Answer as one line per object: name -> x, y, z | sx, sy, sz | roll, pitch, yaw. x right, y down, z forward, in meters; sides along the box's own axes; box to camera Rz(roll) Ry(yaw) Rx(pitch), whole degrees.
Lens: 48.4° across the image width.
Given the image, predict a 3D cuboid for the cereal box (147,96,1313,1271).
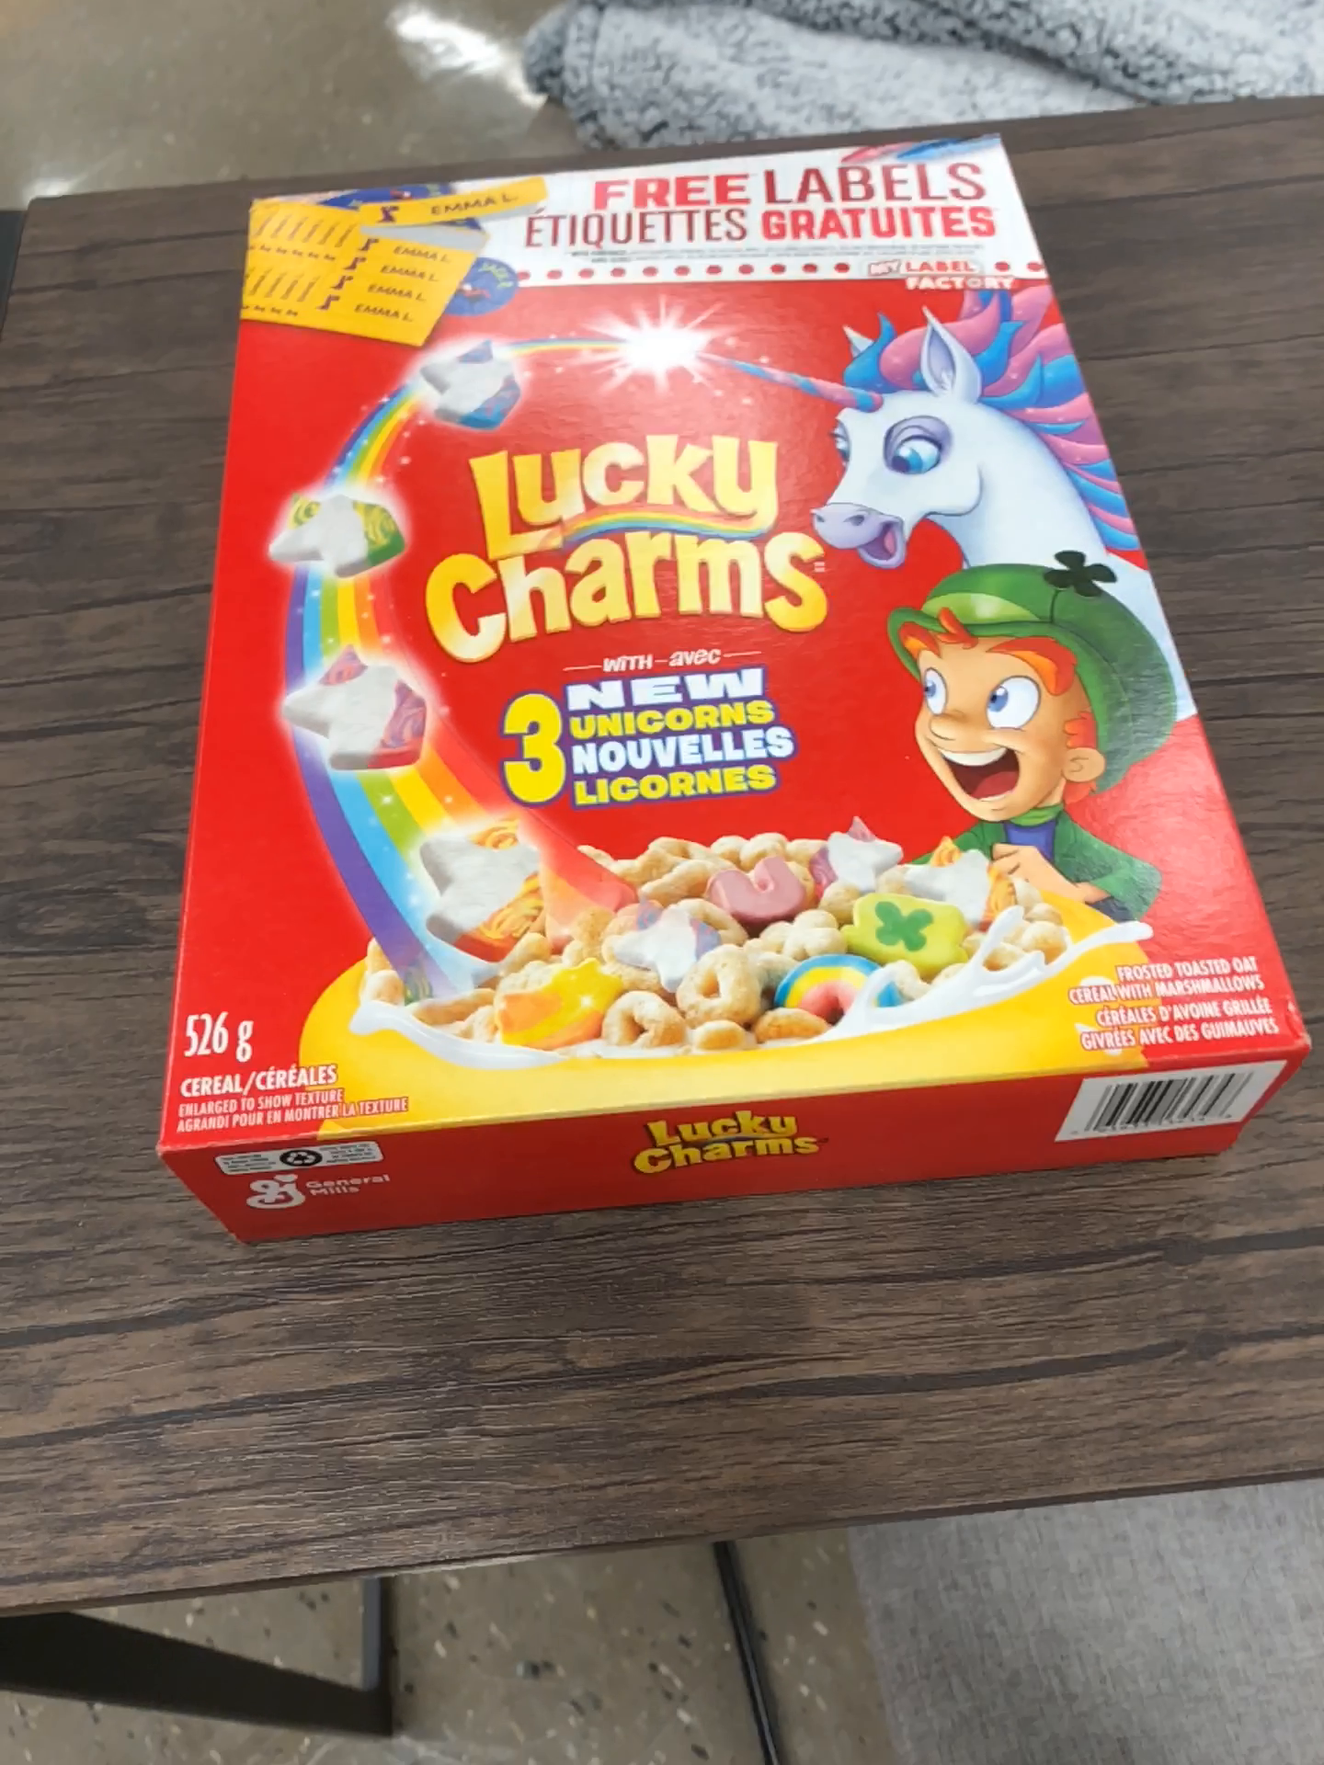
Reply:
cereal box -> 0.001, -0.078, 0.411 | 0.230, 0.080, 0.331 | -5, 58, -1
